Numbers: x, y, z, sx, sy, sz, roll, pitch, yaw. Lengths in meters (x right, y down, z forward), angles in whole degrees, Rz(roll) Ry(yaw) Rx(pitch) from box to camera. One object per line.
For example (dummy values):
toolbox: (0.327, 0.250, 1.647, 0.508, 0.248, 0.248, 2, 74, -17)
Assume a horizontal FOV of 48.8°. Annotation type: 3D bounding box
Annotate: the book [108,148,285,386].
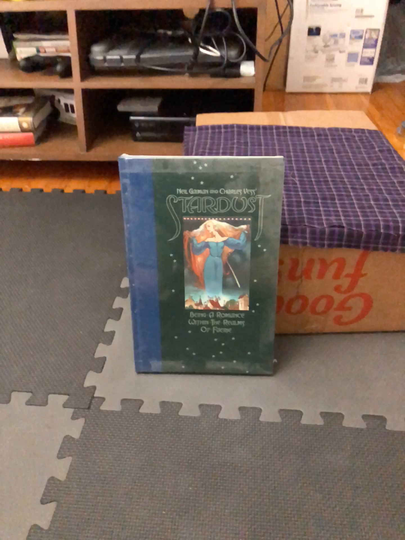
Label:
book: (-0.004, 0.010, 0.594, 0.210, 0.329, 0.020, 0, 21, 4)
